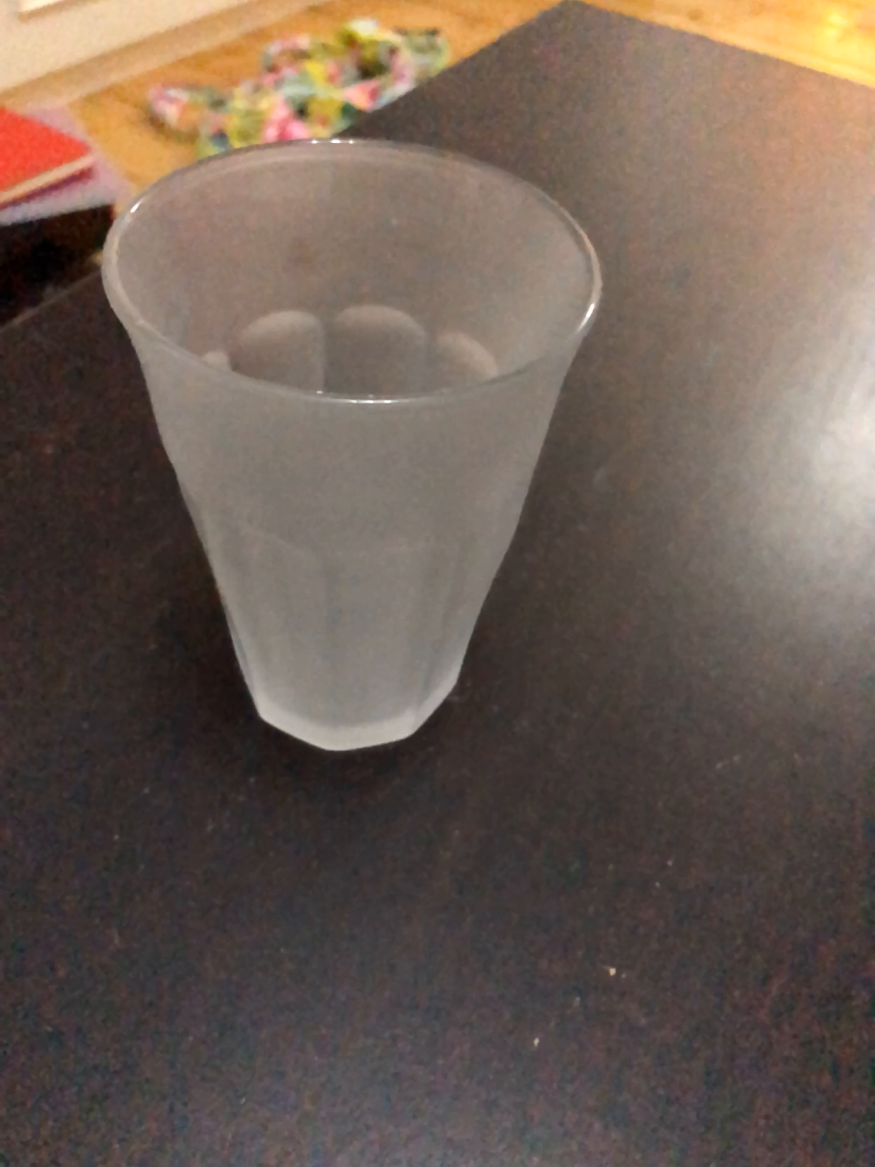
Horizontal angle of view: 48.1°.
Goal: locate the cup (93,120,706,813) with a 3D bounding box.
[{"bbox_3d":[-0.018,-0.025,0.234,0.100,0.129,0.090,-6,49,-12],"label":"cup"}]
